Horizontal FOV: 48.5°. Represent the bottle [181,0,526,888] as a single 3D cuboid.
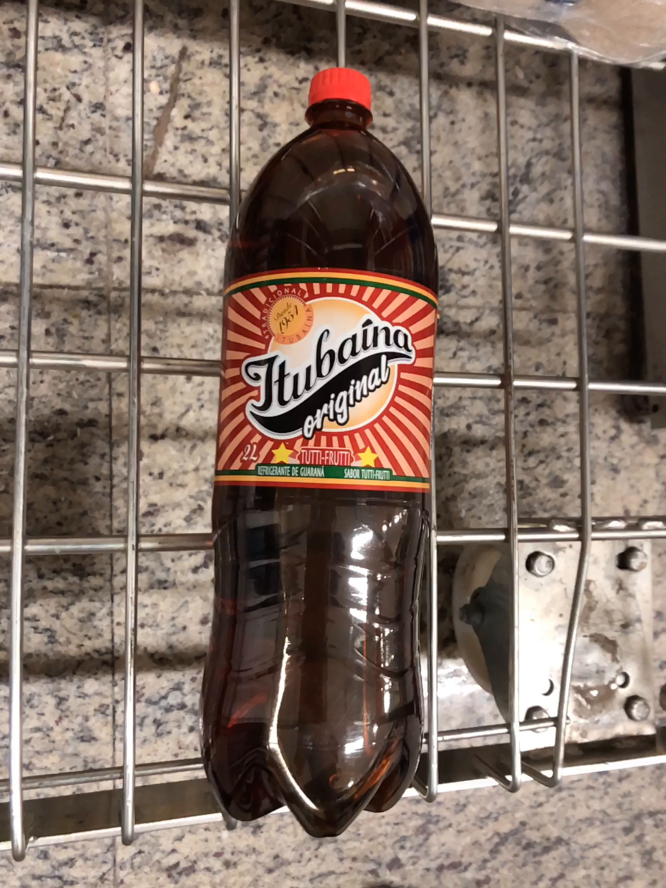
[{"bbox_3d":[0.005,0.002,0.314,0.110,0.070,0.320,4,89,-16],"label":"bottle"}]
